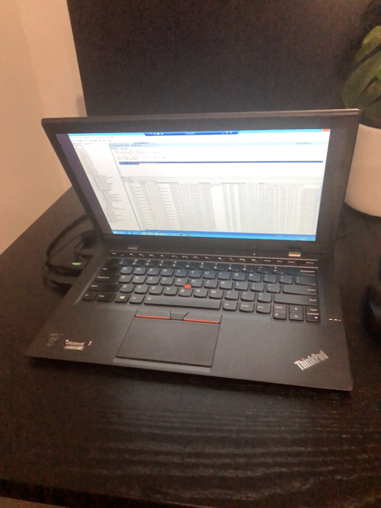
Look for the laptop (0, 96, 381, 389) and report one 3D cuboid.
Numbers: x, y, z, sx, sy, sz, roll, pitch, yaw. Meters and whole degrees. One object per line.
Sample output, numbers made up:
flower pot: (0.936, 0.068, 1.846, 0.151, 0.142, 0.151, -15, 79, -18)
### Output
laptop: (-0.004, -0.037, 0.471, 0.340, 0.214, 0.245, 2, 30, 13)
